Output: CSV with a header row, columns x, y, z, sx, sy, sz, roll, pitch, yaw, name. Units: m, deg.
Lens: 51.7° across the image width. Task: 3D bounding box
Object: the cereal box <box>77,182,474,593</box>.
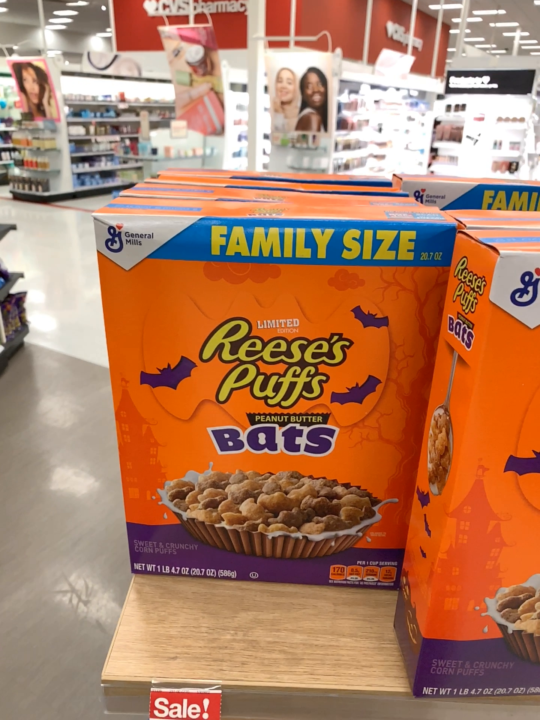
x,y,z,sx,sy,sz,roll,pitch,yaw,name
0.000,0.031,0.432,0.240,0.309,0.070,3,24,2,cereal box
